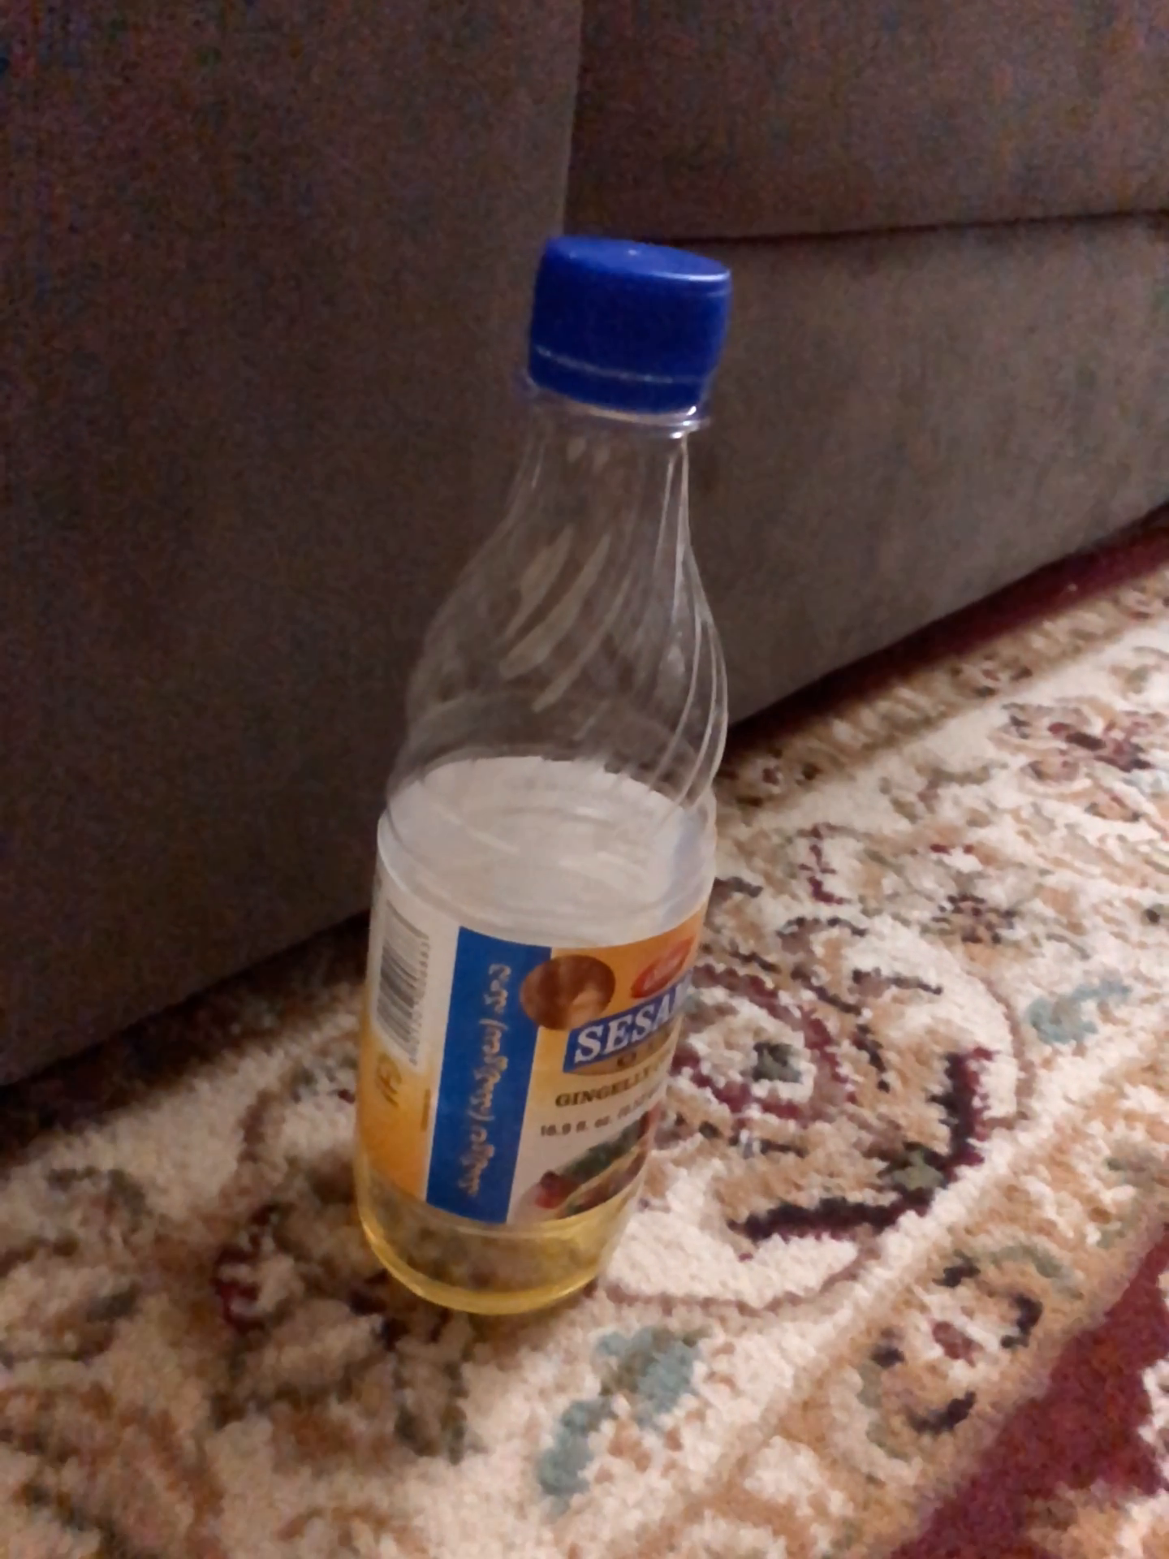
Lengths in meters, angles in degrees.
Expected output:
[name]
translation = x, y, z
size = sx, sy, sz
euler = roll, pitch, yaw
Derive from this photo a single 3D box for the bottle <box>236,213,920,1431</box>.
[bottle]
translation = -0.009, 0.011, 0.237
size = 0.070, 0.199, 0.070
euler = 5, 30, -3
